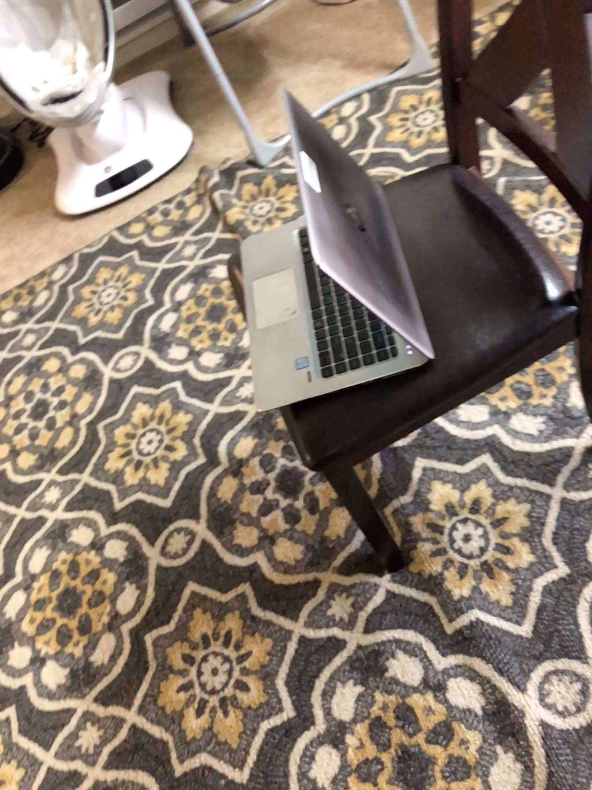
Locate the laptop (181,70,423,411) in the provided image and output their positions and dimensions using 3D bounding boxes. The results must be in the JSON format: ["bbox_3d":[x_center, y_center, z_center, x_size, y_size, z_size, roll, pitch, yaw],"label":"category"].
[{"bbox_3d":[0.000,-0.189,0.811,0.212,0.193,0.323,-17,54,13],"label":"laptop"}]
